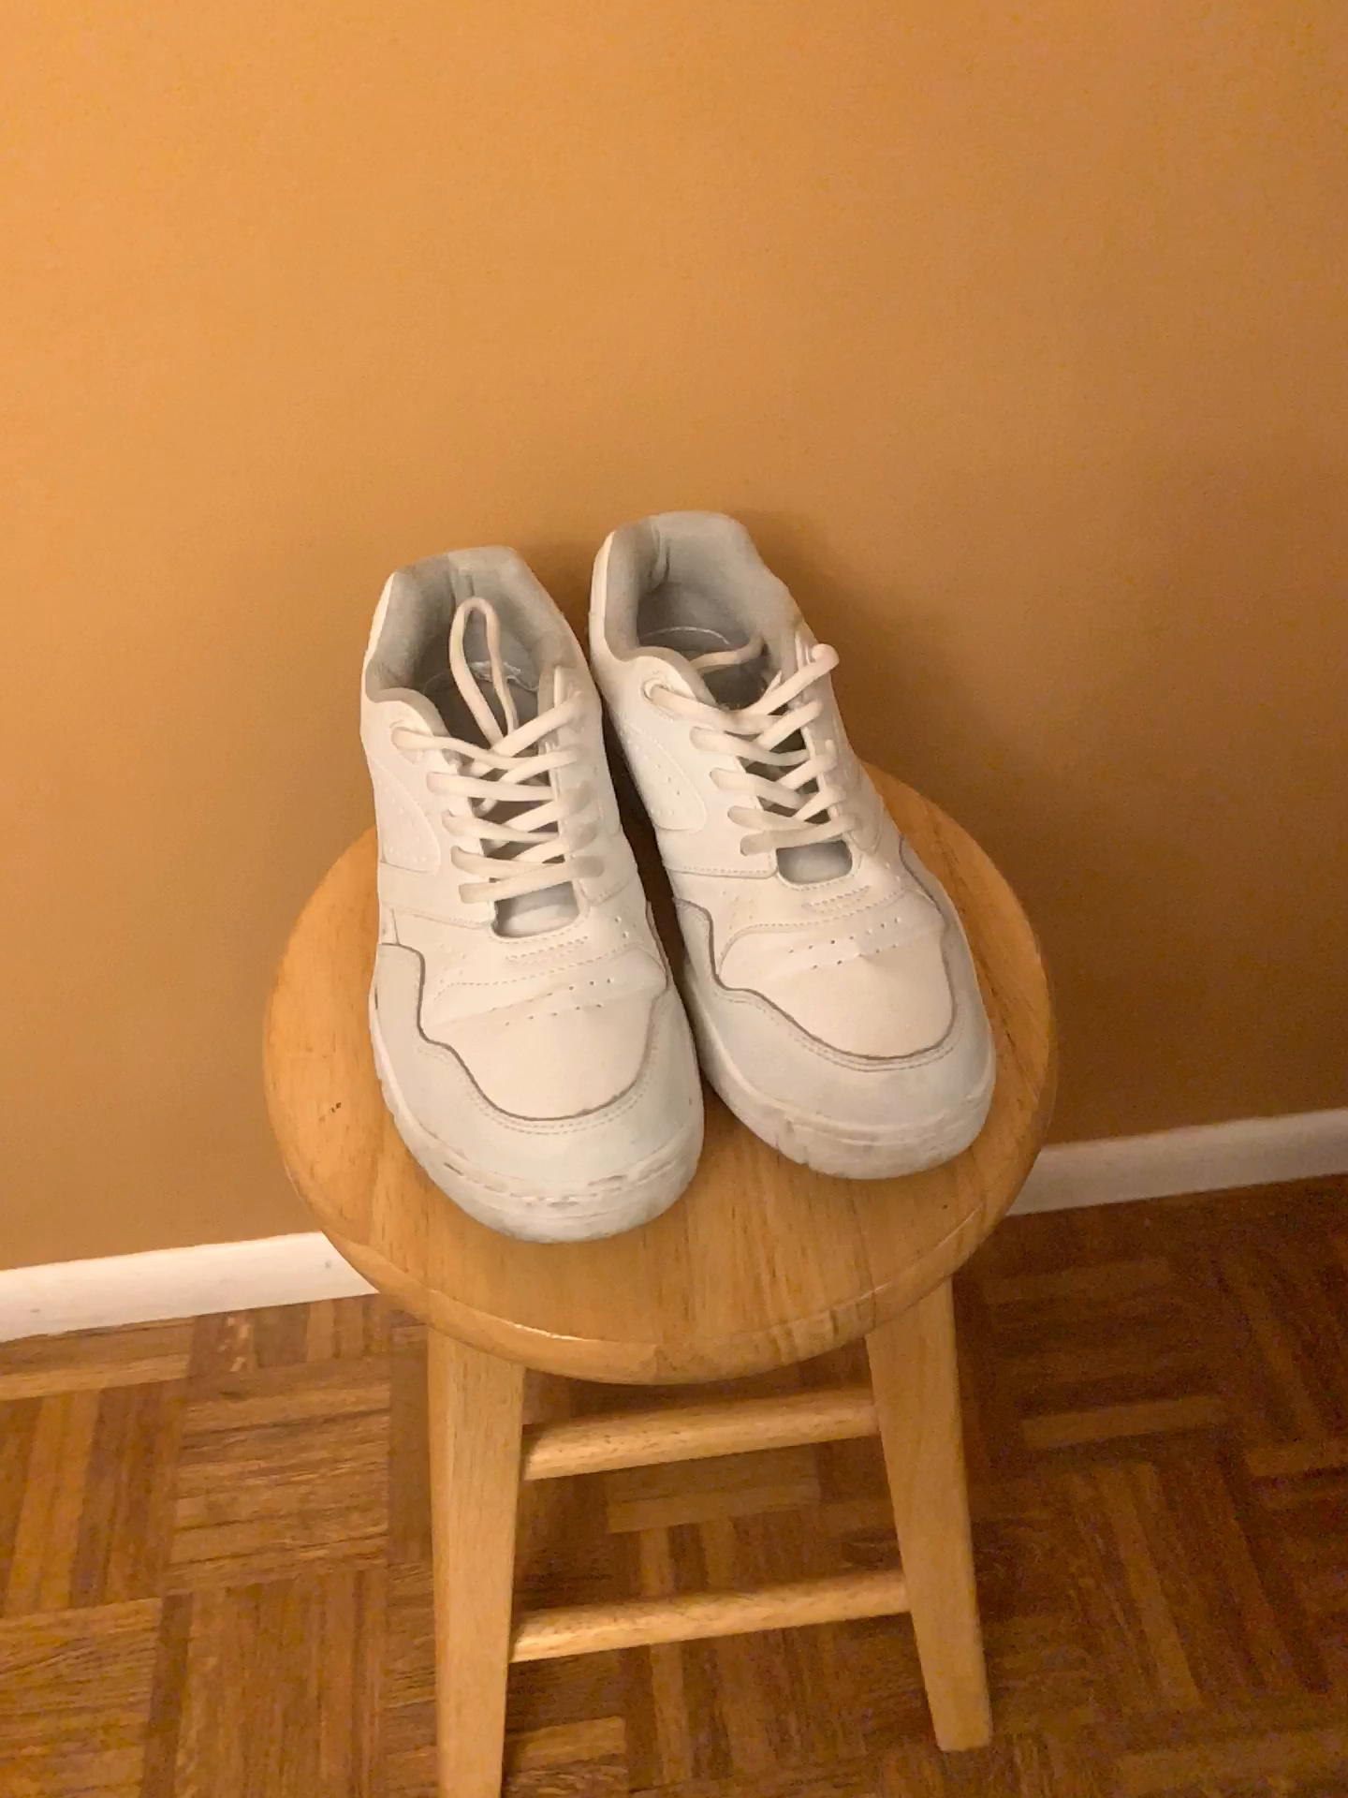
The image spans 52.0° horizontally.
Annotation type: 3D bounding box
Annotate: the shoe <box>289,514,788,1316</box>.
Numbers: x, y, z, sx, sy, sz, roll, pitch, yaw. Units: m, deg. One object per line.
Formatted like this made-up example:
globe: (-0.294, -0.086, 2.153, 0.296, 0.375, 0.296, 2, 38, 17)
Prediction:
shoe: (-0.059, -0.011, 0.502, 0.130, 0.109, 0.271, -10, 48, -7)

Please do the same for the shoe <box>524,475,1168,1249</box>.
shoe: (0.043, -0.031, 0.515, 0.120, 0.109, 0.271, -15, 49, -12)
